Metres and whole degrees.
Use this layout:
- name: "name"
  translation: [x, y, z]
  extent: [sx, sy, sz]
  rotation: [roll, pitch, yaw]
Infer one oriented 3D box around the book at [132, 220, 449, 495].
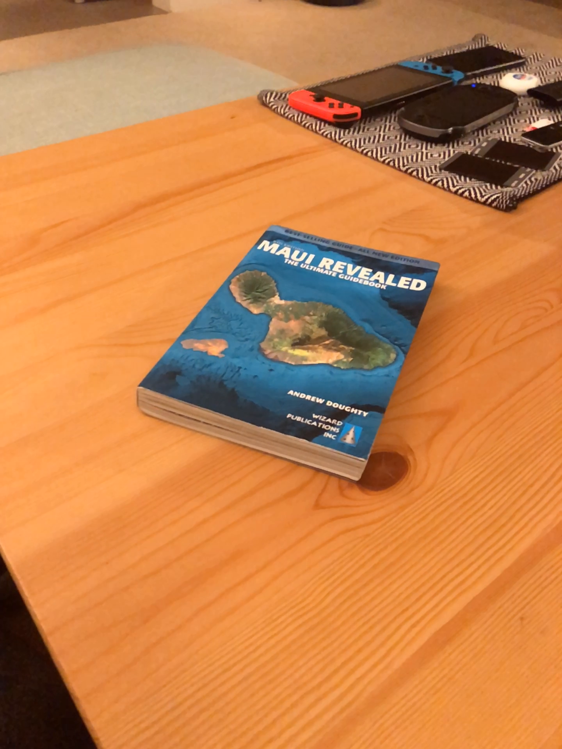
- name: "book"
  translation: [0.019, -0.029, 0.409]
  extent: [0.146, 0.020, 0.201]
  rotation: [17, 46, 13]
